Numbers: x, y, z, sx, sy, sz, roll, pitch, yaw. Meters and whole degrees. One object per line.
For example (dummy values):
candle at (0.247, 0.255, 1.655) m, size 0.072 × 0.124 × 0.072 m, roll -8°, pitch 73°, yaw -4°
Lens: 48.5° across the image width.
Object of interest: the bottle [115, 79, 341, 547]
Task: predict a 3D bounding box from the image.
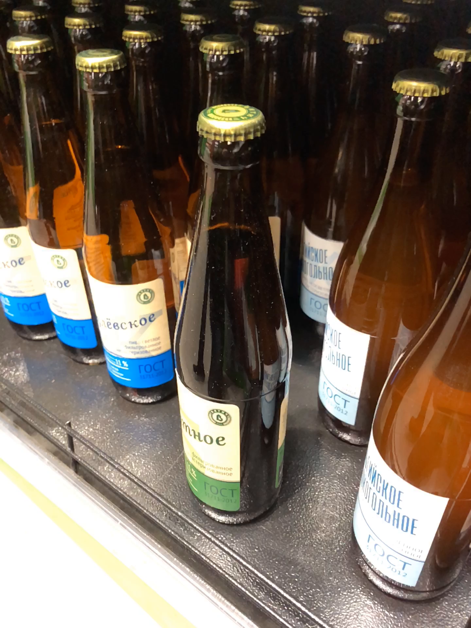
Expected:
bottle at (-0.007, 0.017, 0.286) m, size 0.070 × 0.249 × 0.080 m, roll -11°, pitch 40°, yaw -13°
